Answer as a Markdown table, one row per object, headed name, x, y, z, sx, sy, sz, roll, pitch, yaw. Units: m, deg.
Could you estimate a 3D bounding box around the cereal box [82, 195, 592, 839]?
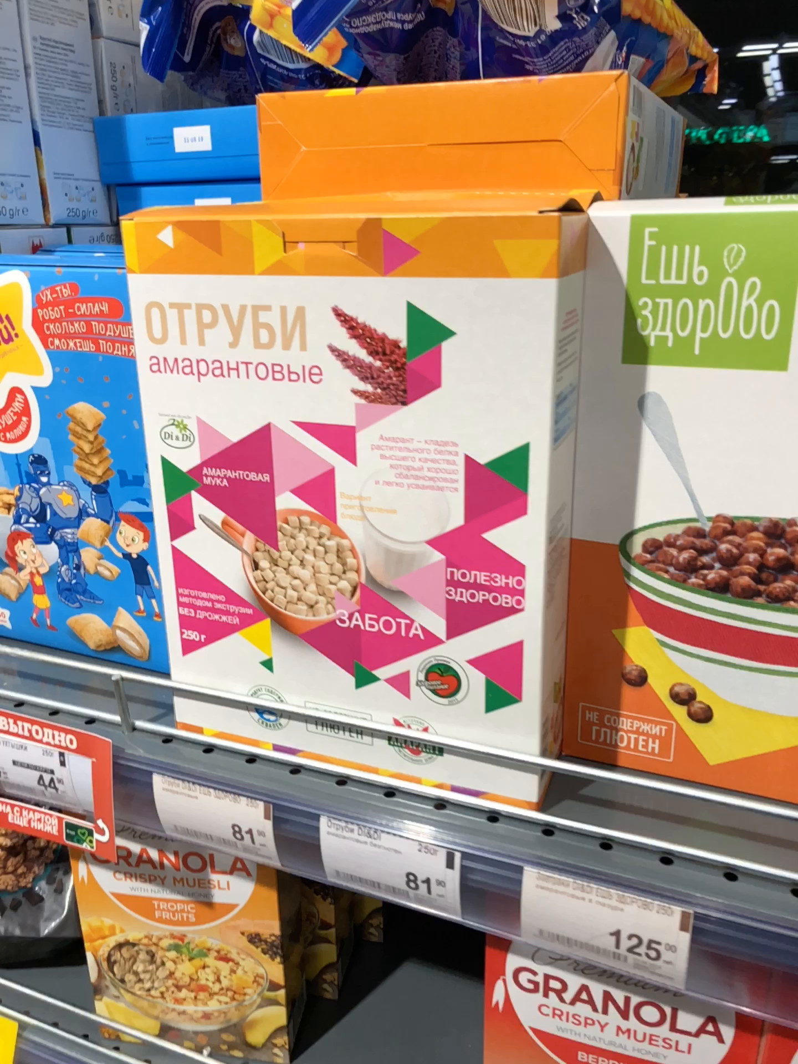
| name | x | y | z | sx | sy | sz | roll | pitch | yaw |
| --- | --- | --- | --- | --- | --- | --- | --- | --- | --- |
| cereal box | -0.025 | -0.011 | 0.398 | 0.200 | 0.259 | 0.060 | 7 | 21 | 22 |
